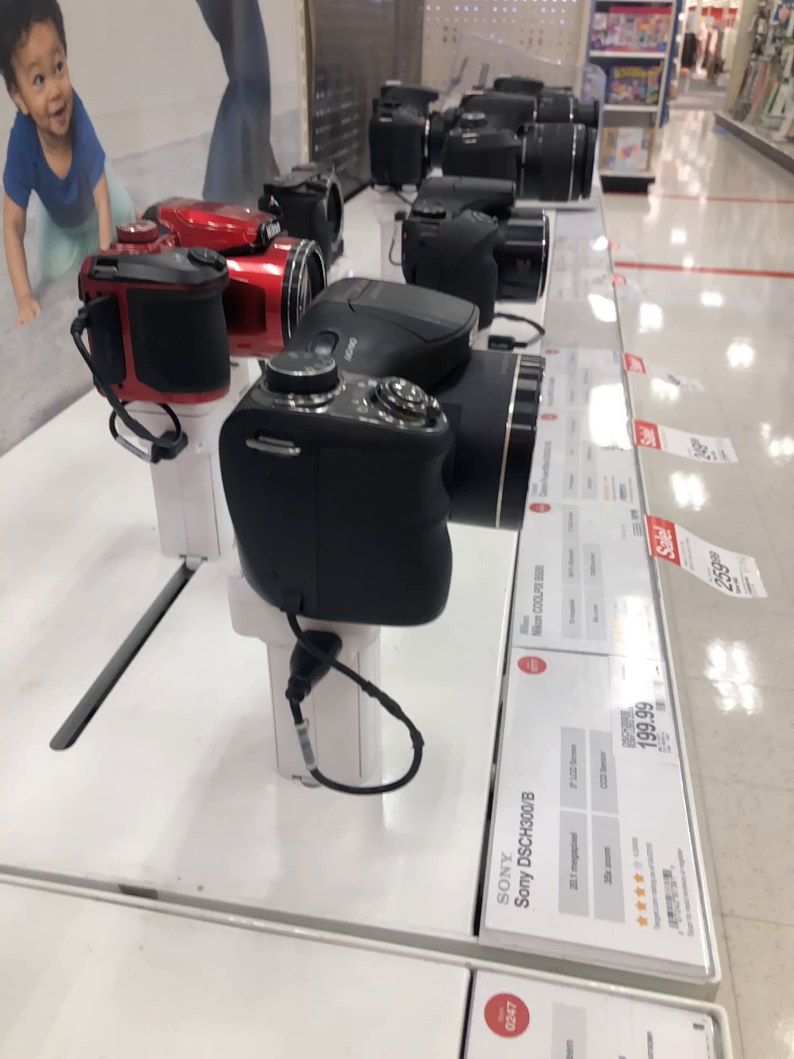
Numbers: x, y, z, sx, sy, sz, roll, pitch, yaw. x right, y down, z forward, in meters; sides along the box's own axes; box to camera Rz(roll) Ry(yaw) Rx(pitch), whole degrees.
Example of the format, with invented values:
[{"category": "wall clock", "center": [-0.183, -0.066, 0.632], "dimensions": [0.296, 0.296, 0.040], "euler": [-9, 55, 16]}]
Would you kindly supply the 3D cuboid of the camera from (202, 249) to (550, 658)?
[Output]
[{"category": "camera", "center": [0.002, -0.036, 0.307], "dimensions": [0.090, 0.090, 0.131], "euler": [6, 30, 8]}]
